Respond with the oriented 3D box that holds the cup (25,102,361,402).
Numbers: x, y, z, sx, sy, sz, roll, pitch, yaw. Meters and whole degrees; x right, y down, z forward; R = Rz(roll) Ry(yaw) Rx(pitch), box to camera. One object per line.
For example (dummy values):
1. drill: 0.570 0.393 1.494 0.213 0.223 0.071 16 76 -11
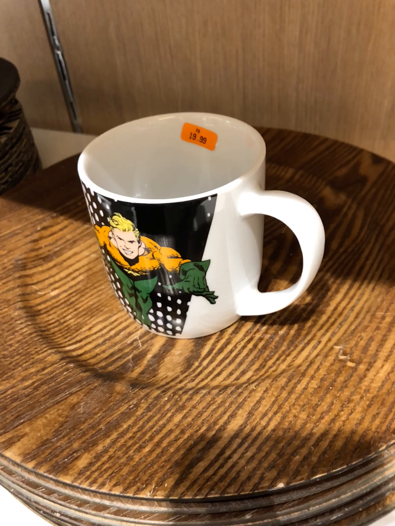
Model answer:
1. cup: 0.003 -0.015 0.224 0.120 0.089 0.091 17 43 26
